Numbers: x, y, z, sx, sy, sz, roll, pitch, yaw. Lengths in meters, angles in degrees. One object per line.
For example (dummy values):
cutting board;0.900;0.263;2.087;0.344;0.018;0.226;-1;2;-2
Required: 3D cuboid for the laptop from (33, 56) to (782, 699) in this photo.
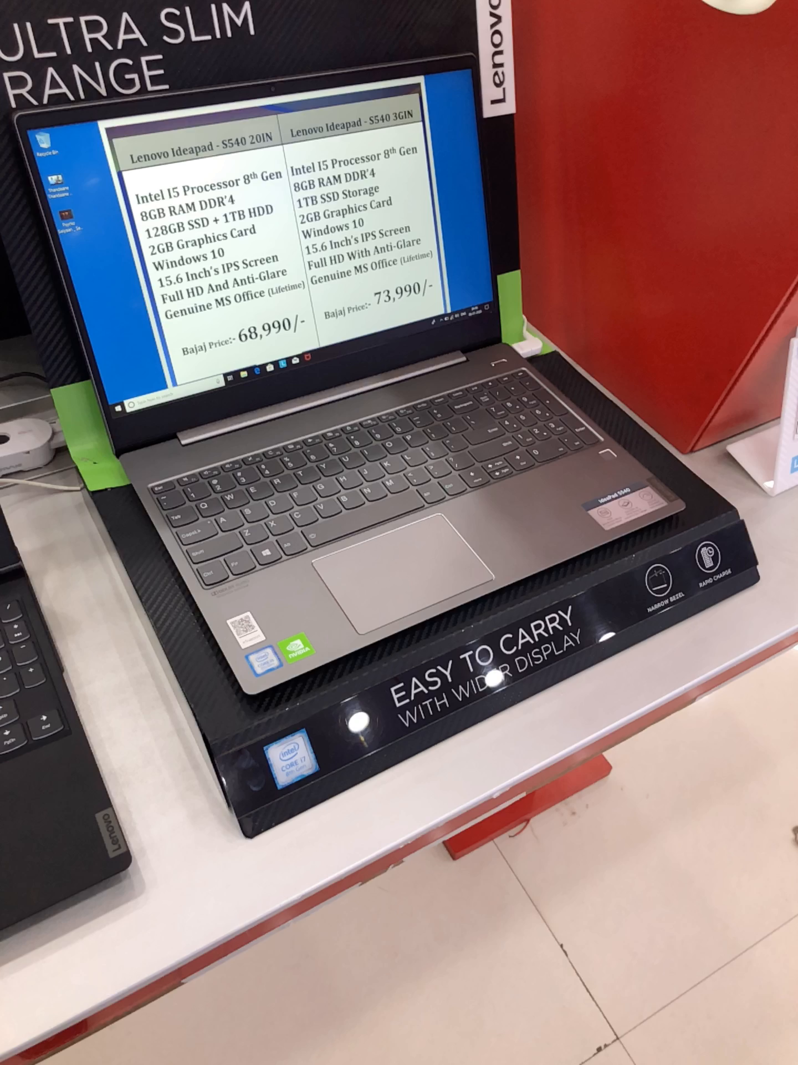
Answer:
laptop;-0.012;-0.137;0.591;0.337;0.194;0.324;-21;53;-24
